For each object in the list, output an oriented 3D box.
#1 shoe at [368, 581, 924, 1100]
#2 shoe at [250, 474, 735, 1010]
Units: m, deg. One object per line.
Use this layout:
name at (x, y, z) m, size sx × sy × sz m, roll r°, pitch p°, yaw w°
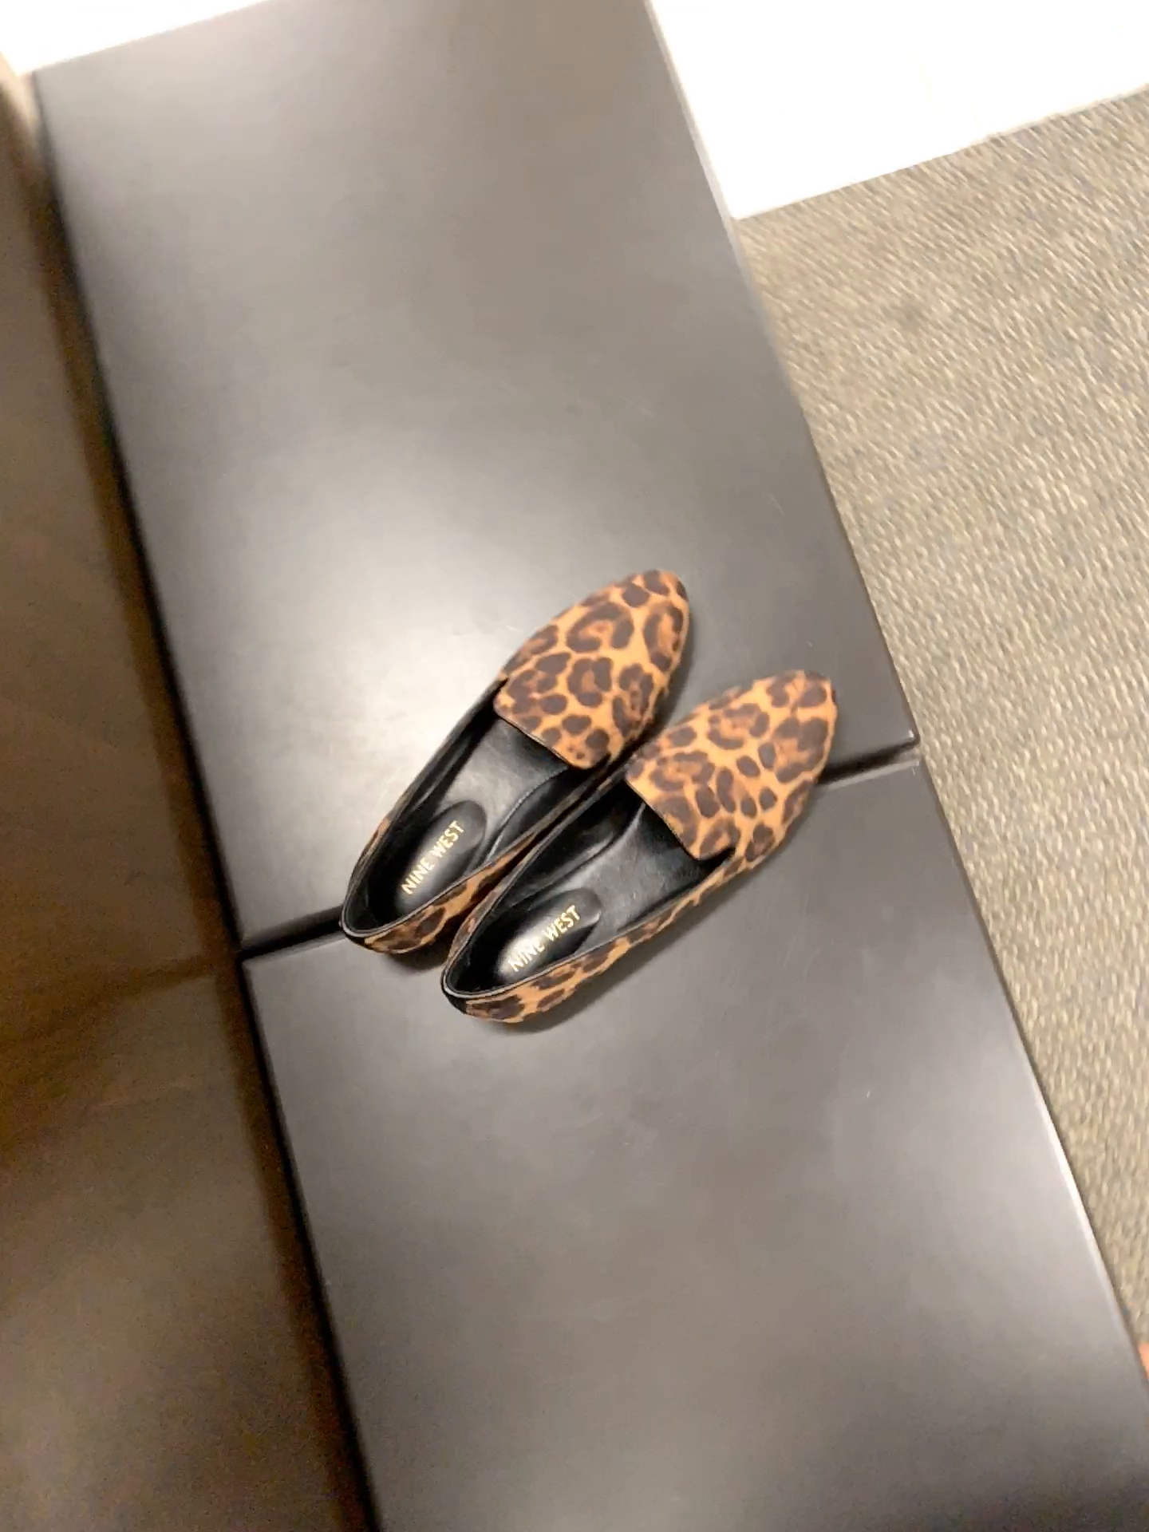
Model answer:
shoe at (0.035, 0.037, 0.563) m, size 0.247 × 0.090 × 0.090 m, roll -41°, pitch 80°, yaw -4°
shoe at (-0.034, -0.008, 0.585) m, size 0.090 × 0.090 × 0.247 m, roll 37°, pitch 84°, yaw 9°
